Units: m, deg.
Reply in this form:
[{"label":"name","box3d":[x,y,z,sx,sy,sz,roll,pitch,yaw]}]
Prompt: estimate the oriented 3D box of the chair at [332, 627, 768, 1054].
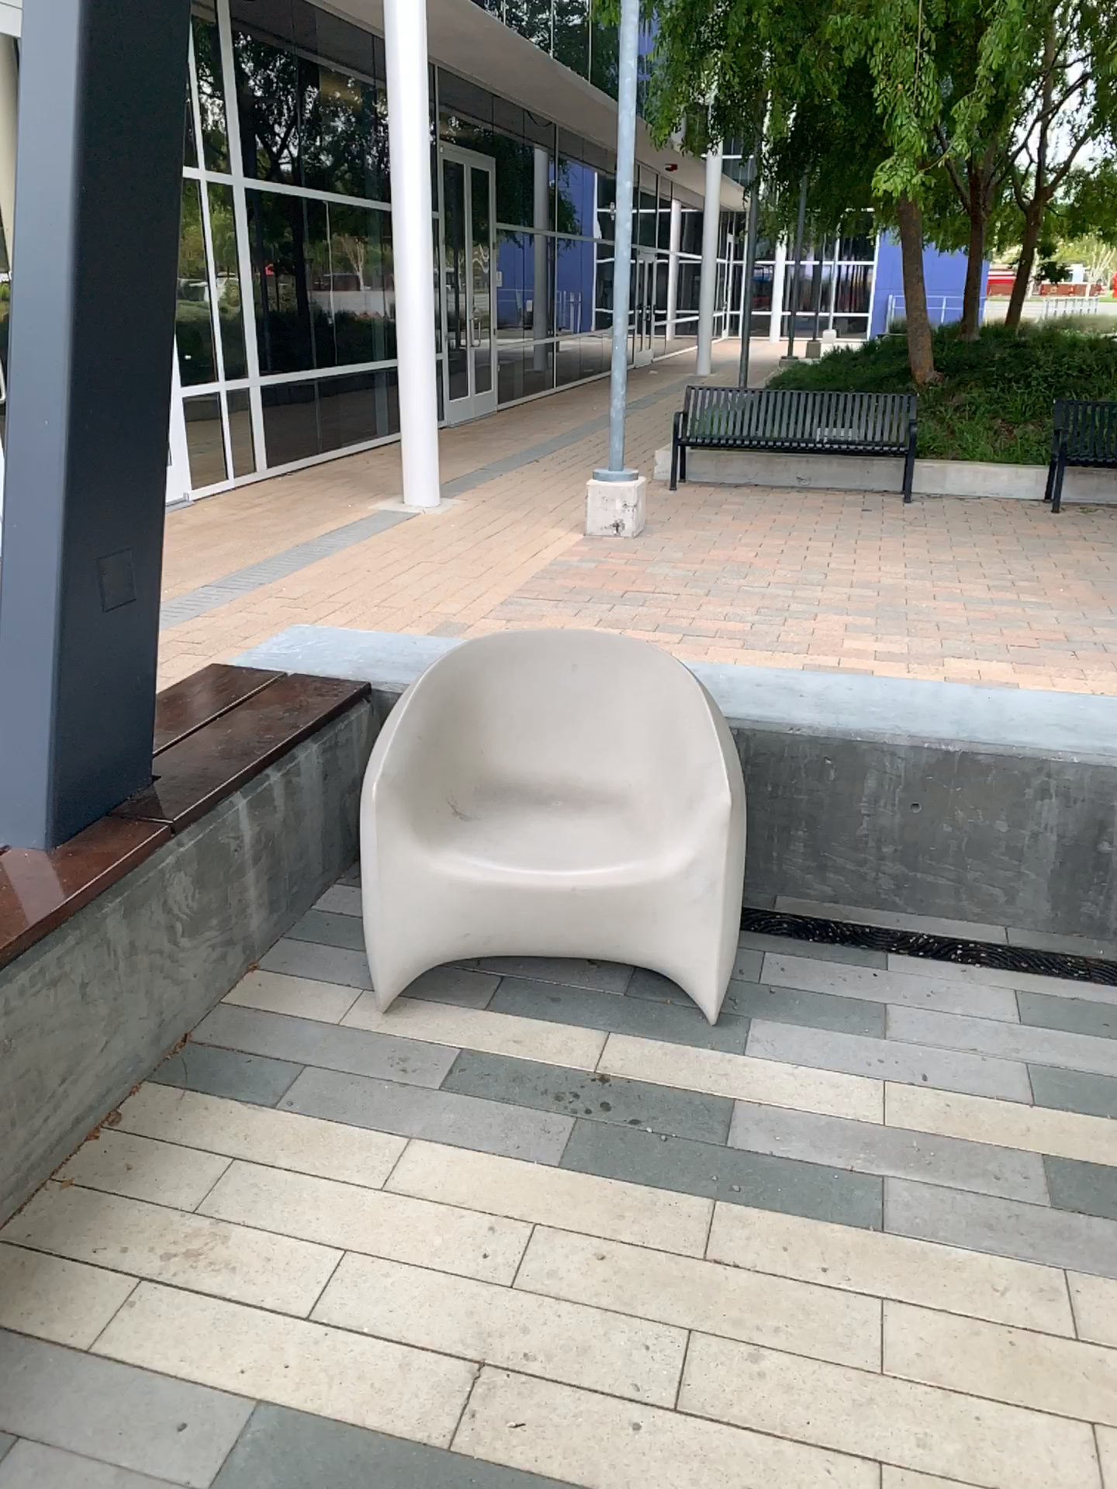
[{"label":"chair","box3d":[-0.017,0.214,3.128,0.980,0.786,0.925,2,24,1]}]
